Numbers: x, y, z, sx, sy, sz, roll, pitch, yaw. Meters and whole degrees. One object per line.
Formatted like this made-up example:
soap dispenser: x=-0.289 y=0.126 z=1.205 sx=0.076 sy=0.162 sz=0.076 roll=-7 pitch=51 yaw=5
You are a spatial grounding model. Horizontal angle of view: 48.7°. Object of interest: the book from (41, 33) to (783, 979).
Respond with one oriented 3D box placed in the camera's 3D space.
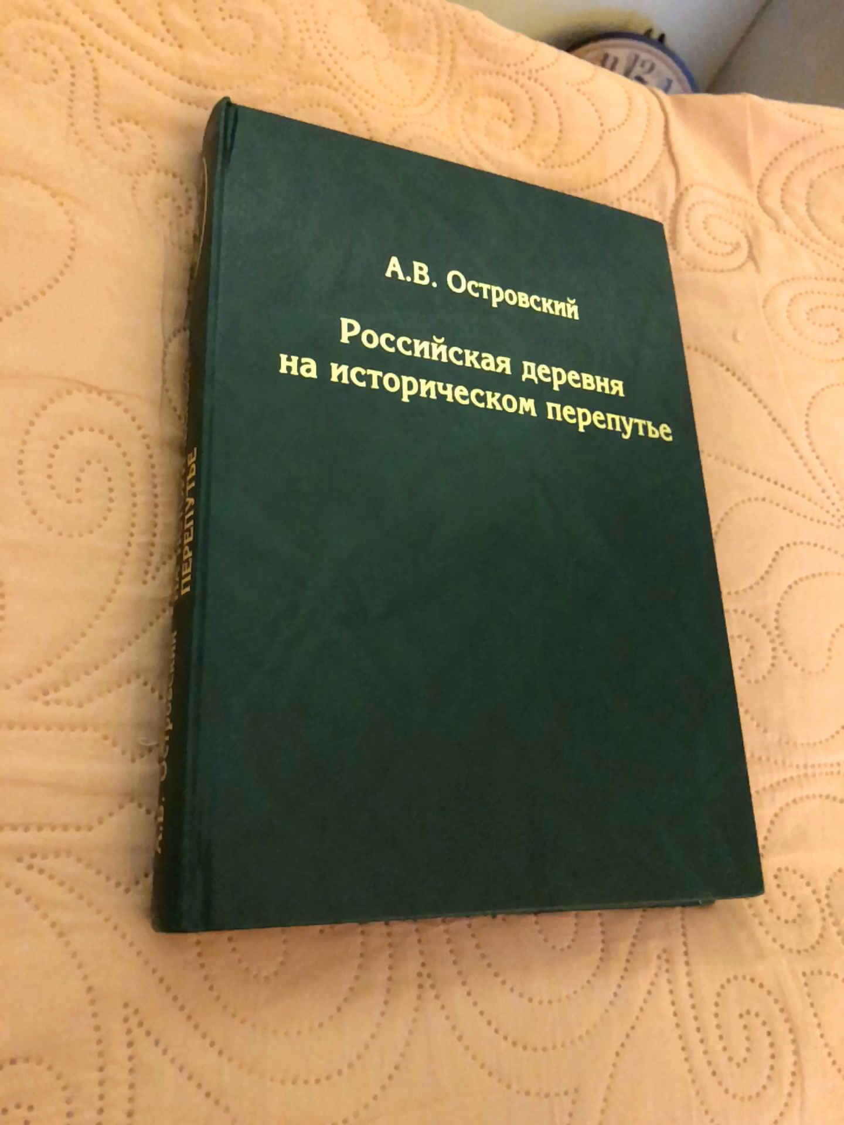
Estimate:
book: x=-0.001 y=-0.020 z=0.269 sx=0.180 sy=0.040 sz=0.241 roll=5 pitch=69 yaw=-21
